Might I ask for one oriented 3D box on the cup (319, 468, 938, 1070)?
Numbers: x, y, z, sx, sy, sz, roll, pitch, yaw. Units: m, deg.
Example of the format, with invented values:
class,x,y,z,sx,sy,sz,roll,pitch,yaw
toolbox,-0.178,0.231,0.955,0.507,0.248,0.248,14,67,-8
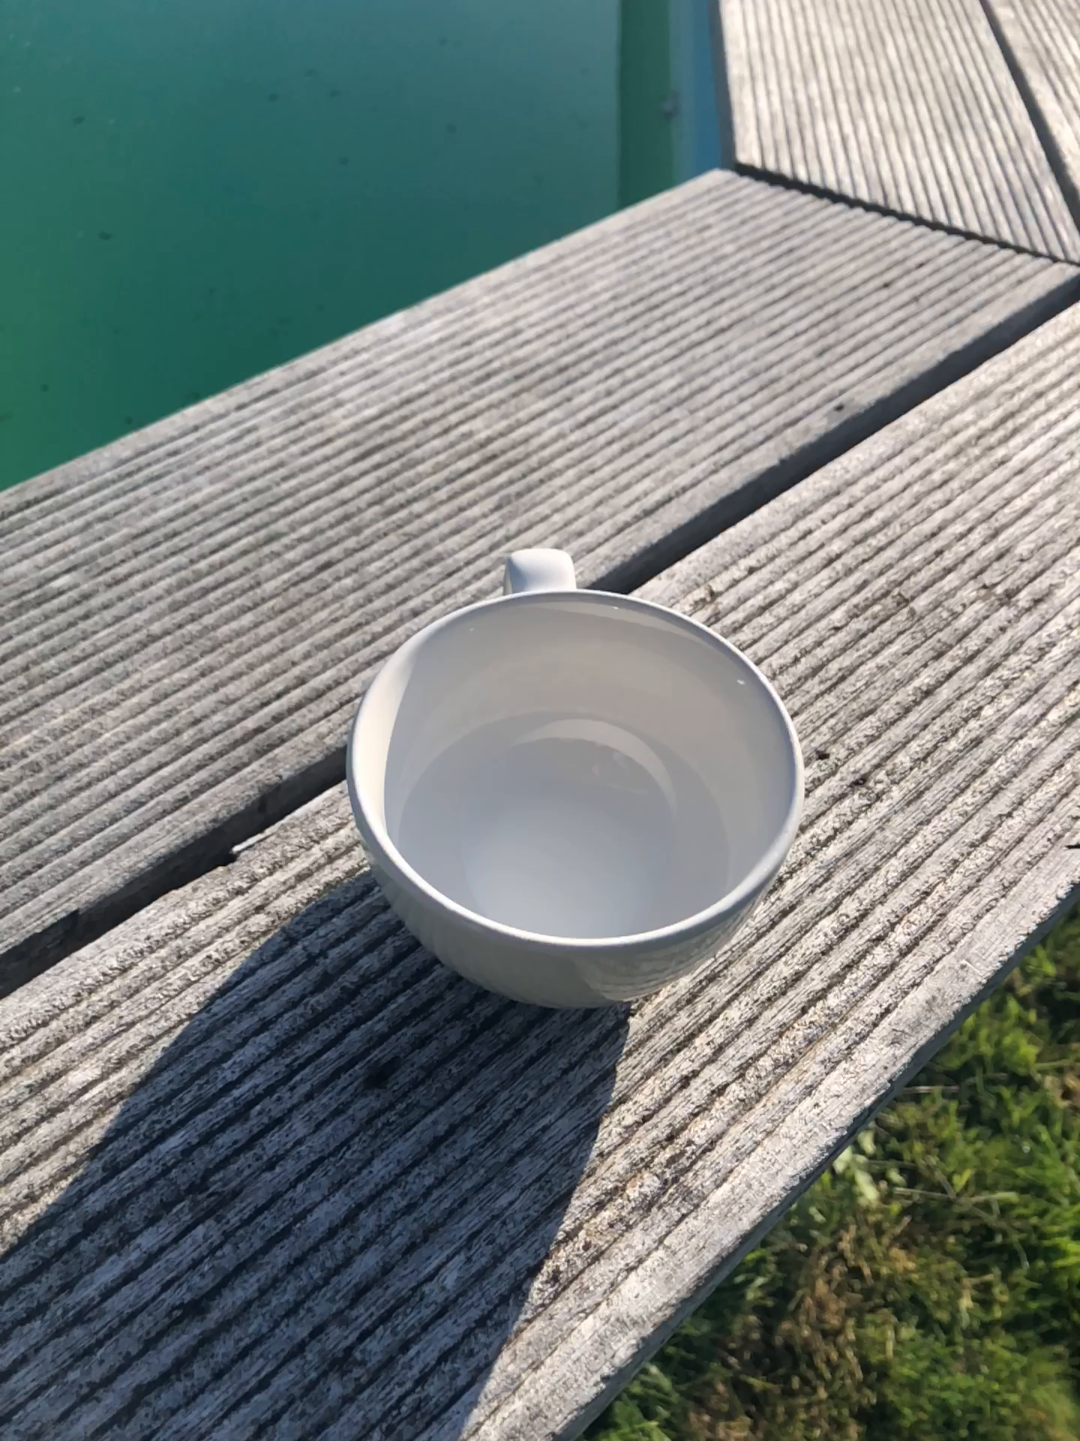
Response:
class,x,y,z,sx,sy,sz,roll,pitch,yaw
cup,0.010,0.003,0.259,0.104,0.038,0.121,-5,54,-9
